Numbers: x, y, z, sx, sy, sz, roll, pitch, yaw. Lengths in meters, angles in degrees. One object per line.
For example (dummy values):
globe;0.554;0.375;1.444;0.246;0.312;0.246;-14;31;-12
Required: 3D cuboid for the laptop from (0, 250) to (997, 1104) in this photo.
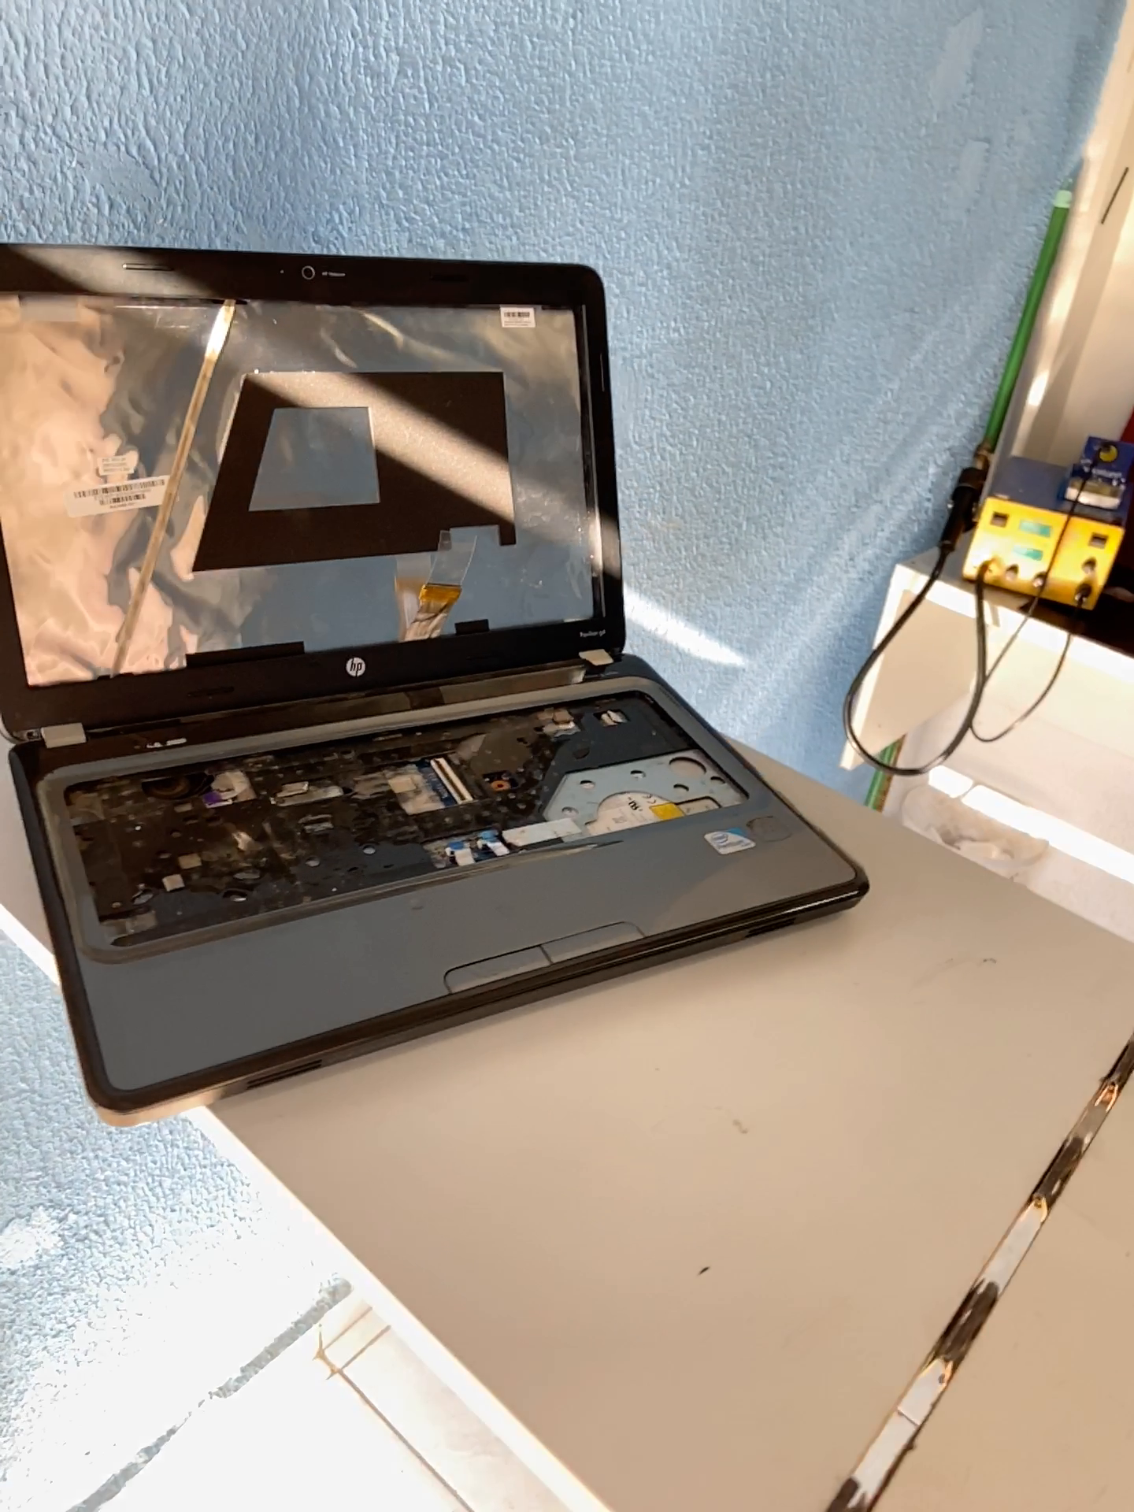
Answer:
laptop;-0.070;-0.083;0.524;0.336;0.194;0.324;-10;37;-26
